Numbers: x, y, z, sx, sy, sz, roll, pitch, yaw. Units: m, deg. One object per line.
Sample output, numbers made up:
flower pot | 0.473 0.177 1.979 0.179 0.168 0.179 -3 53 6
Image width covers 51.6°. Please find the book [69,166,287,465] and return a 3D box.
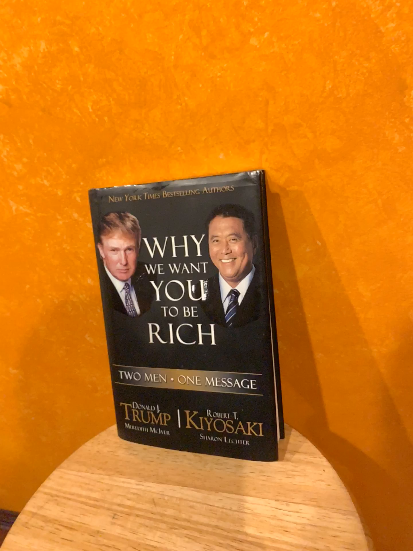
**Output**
book | -0.021 0.030 0.342 0.151 0.210 0.044 -1 9 23
